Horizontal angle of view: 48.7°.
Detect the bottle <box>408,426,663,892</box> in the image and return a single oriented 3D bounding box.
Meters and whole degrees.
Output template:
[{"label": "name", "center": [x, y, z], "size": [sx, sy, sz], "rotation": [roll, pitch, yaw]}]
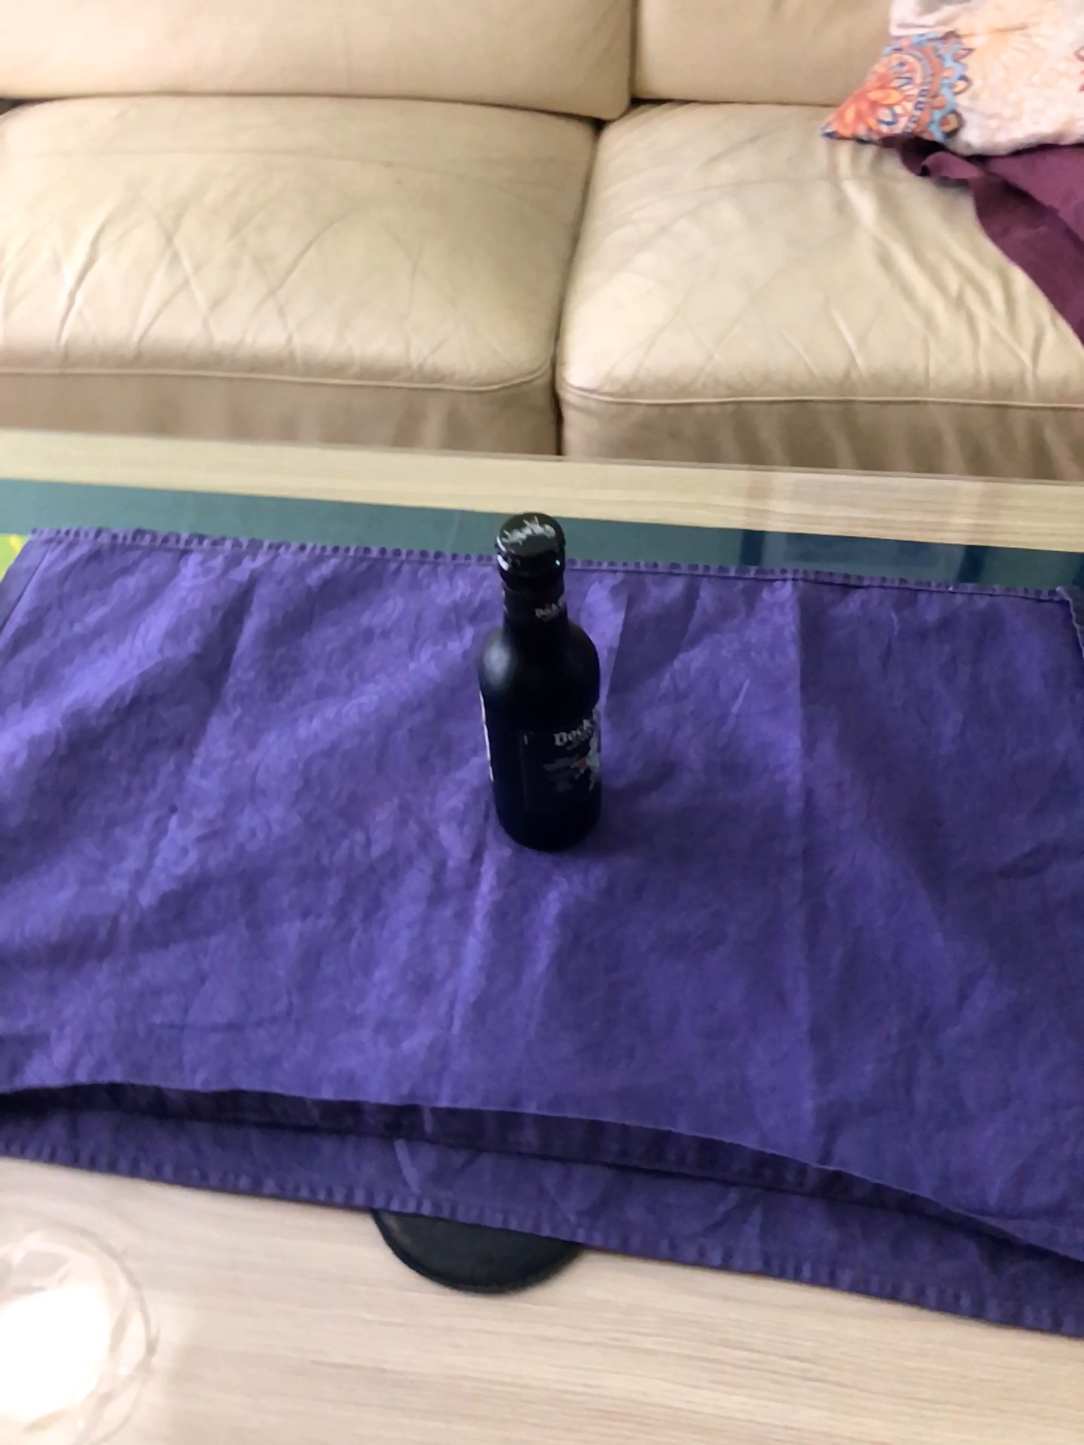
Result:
[{"label": "bottle", "center": [0.002, -0.019, 0.526], "size": [0.070, 0.199, 0.070], "rotation": [-2, 51, 2]}]
